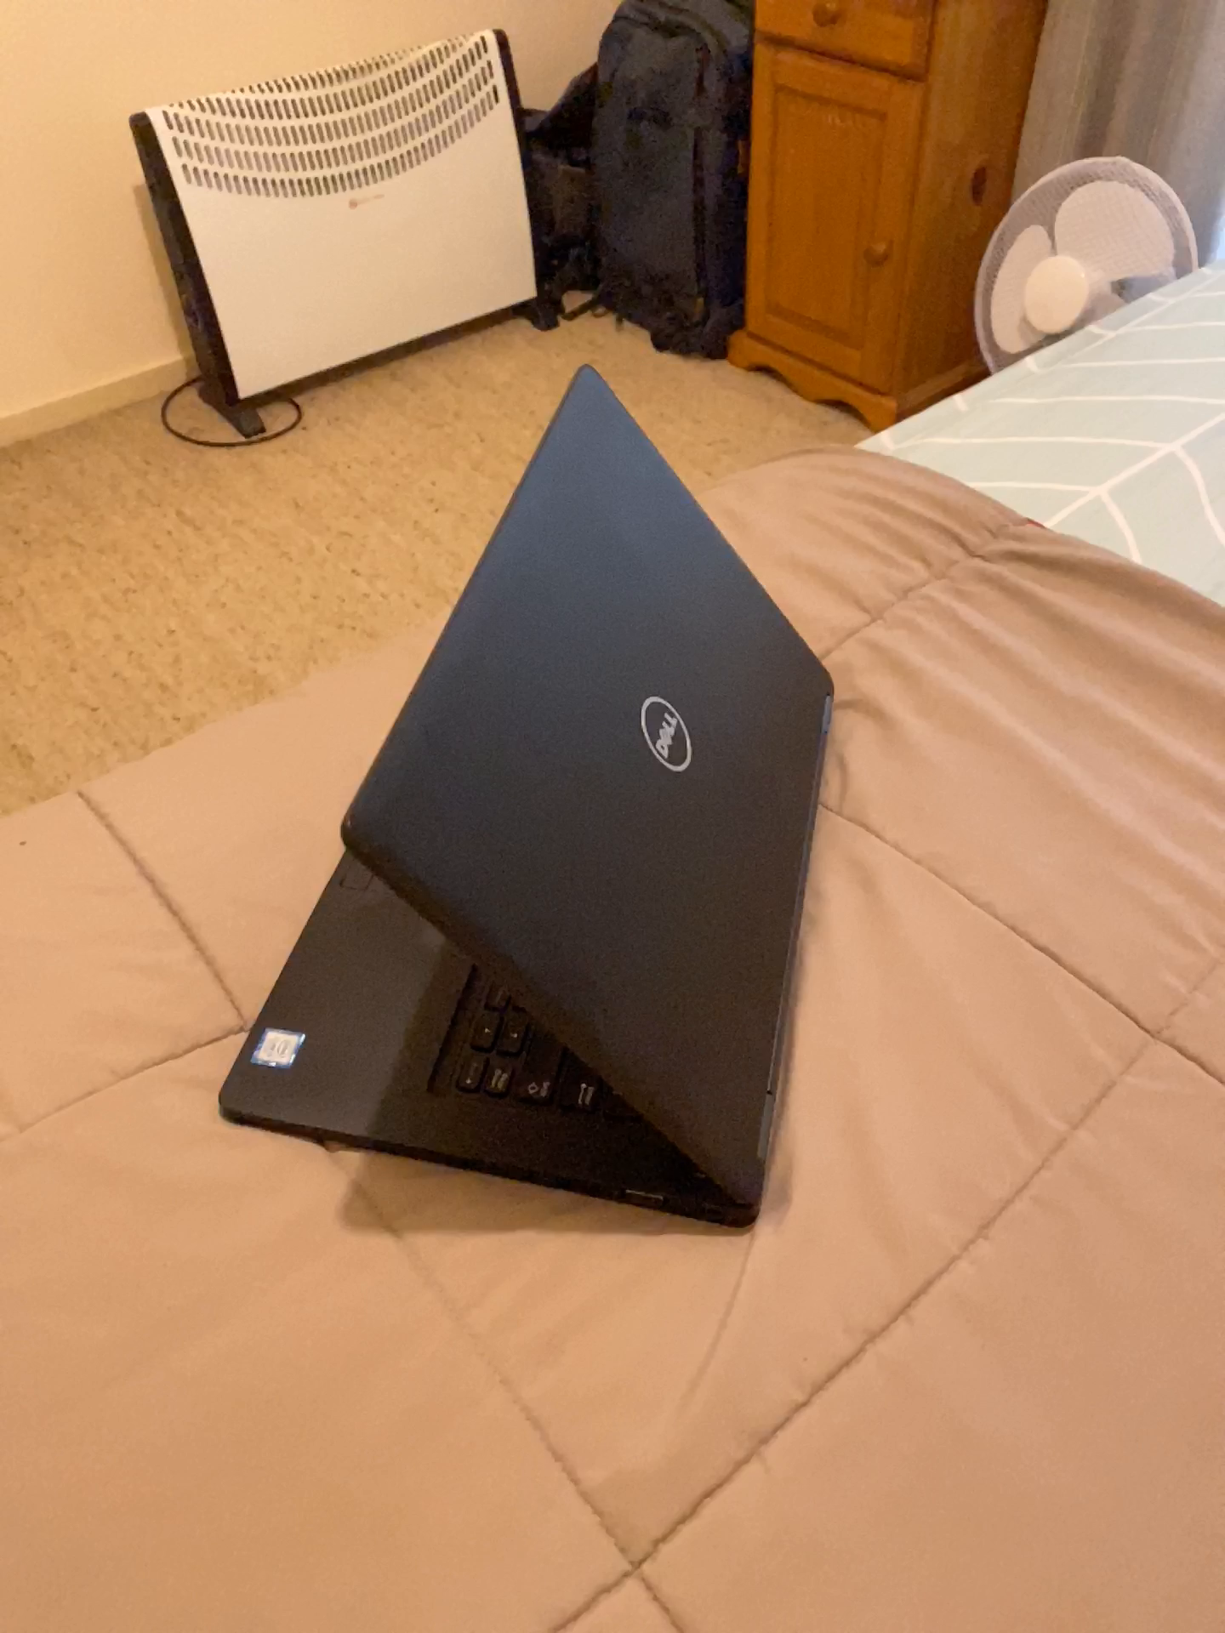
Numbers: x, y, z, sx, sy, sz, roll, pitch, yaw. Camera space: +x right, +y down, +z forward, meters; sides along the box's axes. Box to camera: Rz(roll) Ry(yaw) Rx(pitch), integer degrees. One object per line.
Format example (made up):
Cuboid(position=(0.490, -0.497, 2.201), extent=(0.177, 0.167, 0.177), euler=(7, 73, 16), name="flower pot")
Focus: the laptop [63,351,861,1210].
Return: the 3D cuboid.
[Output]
Cuboid(position=(-0.025, -0.040, 0.561), extent=(0.226, 0.183, 0.336), euler=(8, 45, 9), name="laptop")
